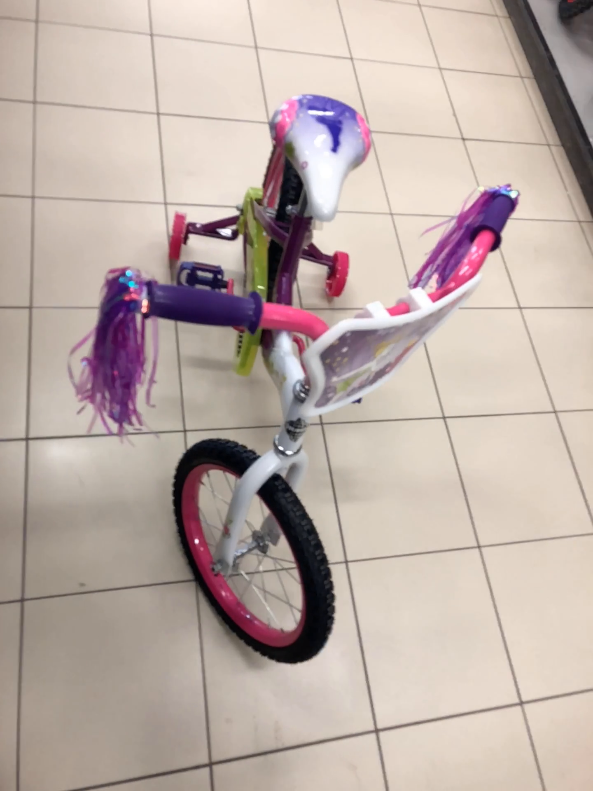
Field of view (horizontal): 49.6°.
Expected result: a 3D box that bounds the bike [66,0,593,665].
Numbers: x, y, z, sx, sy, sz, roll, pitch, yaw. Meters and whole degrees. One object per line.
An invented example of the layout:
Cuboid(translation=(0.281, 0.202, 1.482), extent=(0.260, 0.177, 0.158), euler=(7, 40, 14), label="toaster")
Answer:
Cuboid(translation=(0.029, -0.178, 1.022), extent=(0.595, 0.811, 1.069), euler=(4, 64, -14), label="bike")
